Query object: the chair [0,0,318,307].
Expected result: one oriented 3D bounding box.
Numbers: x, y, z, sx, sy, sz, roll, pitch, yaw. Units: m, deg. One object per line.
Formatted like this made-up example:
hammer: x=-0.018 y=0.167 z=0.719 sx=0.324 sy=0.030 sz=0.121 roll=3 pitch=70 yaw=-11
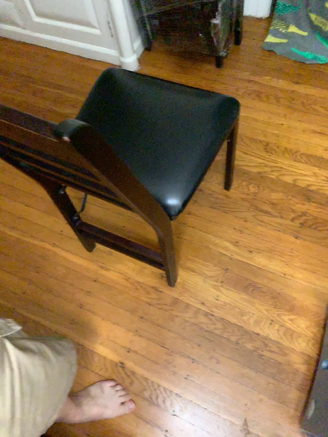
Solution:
chair: x=-0.080 y=-0.225 z=0.806 sx=0.491 sy=0.867 sz=0.551 roll=19 pitch=68 yaw=15
